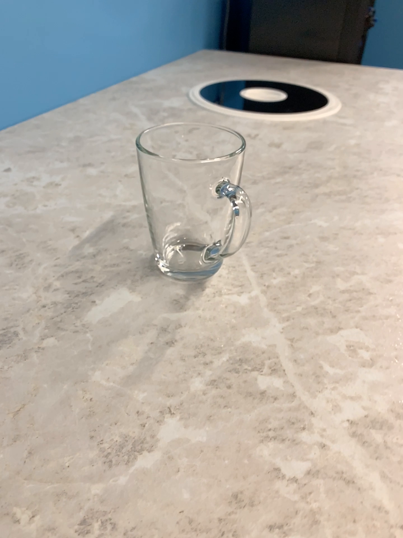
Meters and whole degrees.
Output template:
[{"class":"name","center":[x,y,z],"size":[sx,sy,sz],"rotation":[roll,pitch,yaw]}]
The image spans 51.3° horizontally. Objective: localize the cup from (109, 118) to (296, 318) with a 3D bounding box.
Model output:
[{"class":"cup","center":[-0.006,-0.047,0.328],"size":[0.089,0.097,0.116],"rotation":[-17,40,-23]}]
